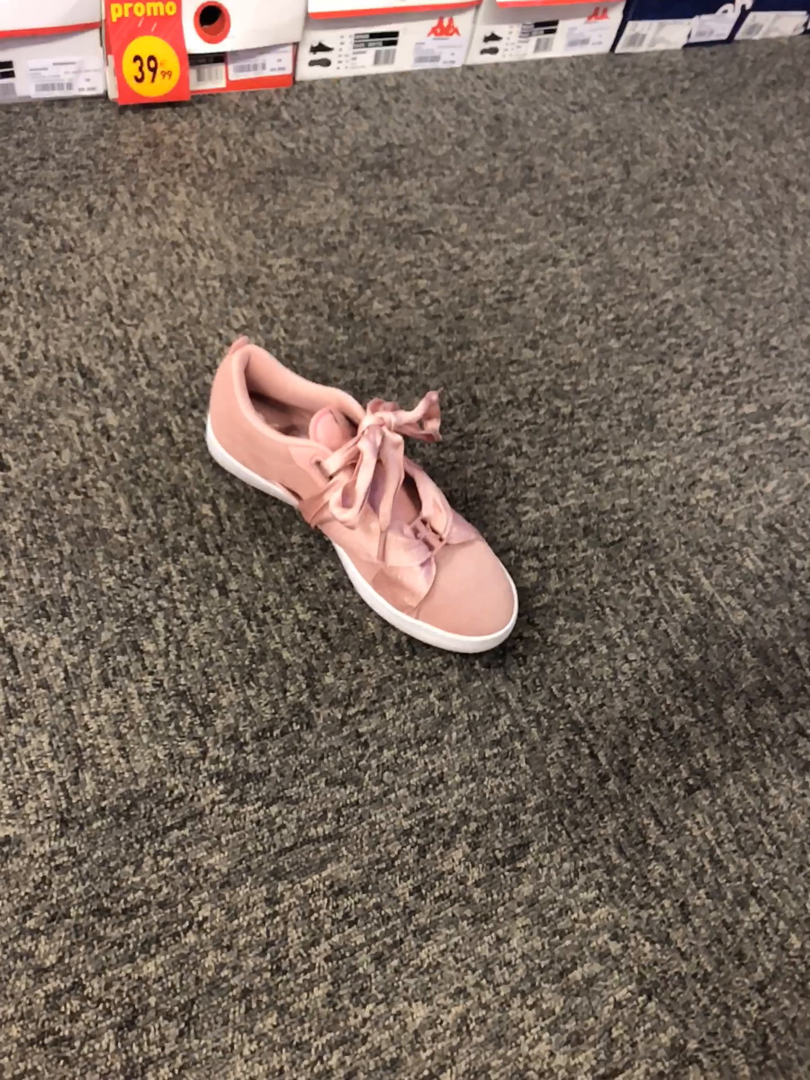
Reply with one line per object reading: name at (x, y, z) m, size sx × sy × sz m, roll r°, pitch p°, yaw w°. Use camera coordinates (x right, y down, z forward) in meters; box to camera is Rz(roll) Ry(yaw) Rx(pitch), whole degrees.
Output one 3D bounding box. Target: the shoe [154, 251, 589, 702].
shoe at (-0.029, -0.040, 0.563) m, size 0.262 × 0.099 × 0.101 m, roll 45°, pitch 59°, yaw 7°
